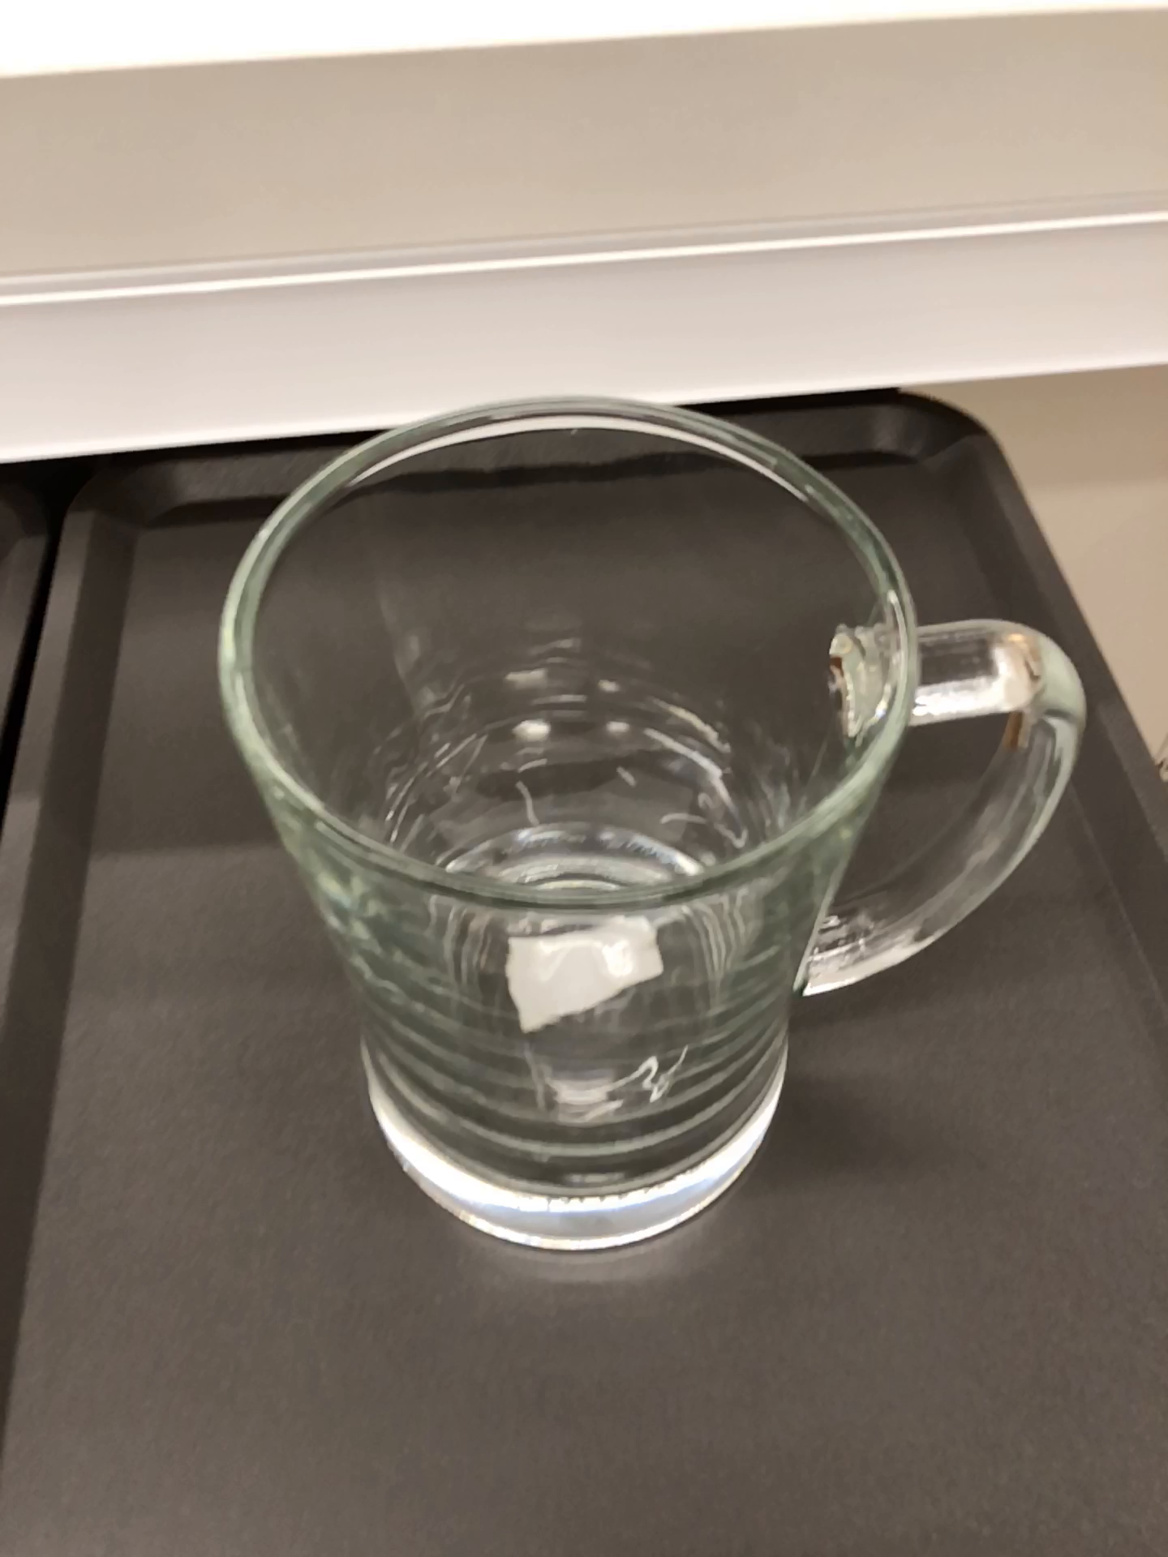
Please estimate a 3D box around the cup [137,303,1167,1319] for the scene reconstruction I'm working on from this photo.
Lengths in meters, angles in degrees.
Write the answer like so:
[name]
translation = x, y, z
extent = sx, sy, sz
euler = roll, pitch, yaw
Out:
[cup]
translation = 0.016, 0.009, 0.248
extent = 0.160, 0.130, 0.110
euler = -11, 53, -9
